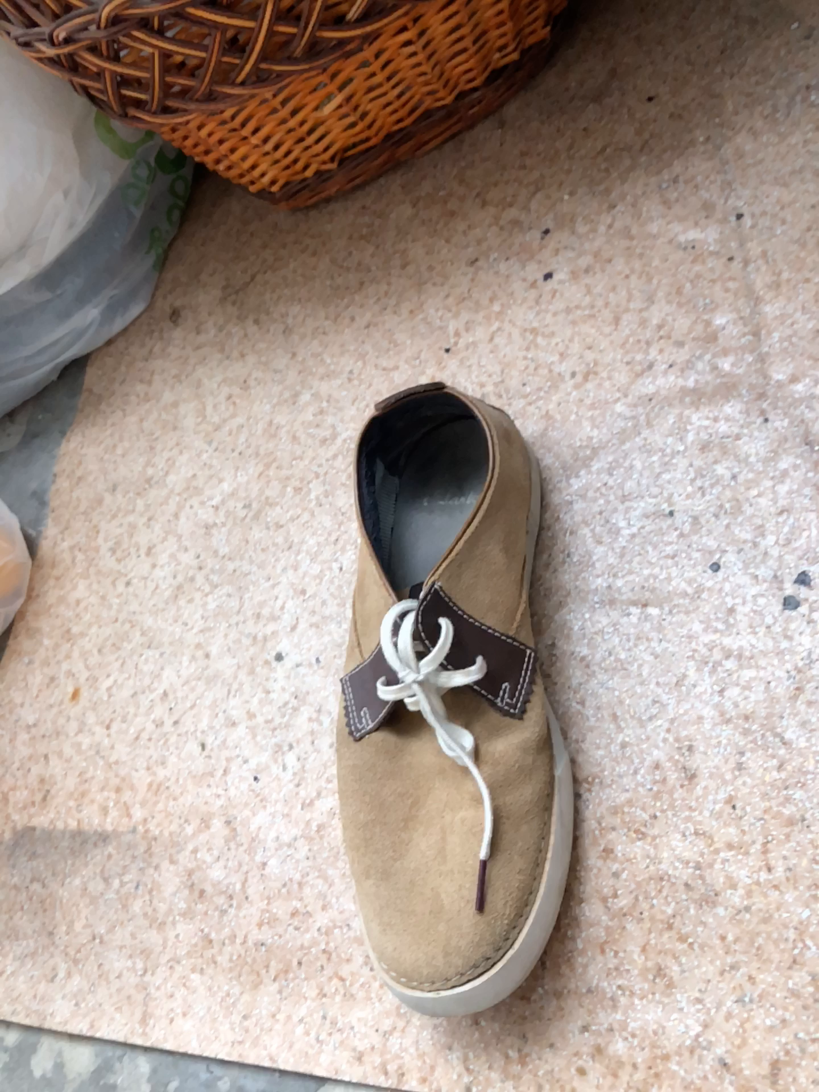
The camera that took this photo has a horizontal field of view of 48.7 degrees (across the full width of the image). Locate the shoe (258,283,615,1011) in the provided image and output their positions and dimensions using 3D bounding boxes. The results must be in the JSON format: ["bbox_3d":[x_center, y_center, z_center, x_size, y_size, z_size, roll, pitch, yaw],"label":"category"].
[{"bbox_3d":[0.018,0.041,0.416,0.110,0.090,0.301,-11,62,27],"label":"shoe"}]
